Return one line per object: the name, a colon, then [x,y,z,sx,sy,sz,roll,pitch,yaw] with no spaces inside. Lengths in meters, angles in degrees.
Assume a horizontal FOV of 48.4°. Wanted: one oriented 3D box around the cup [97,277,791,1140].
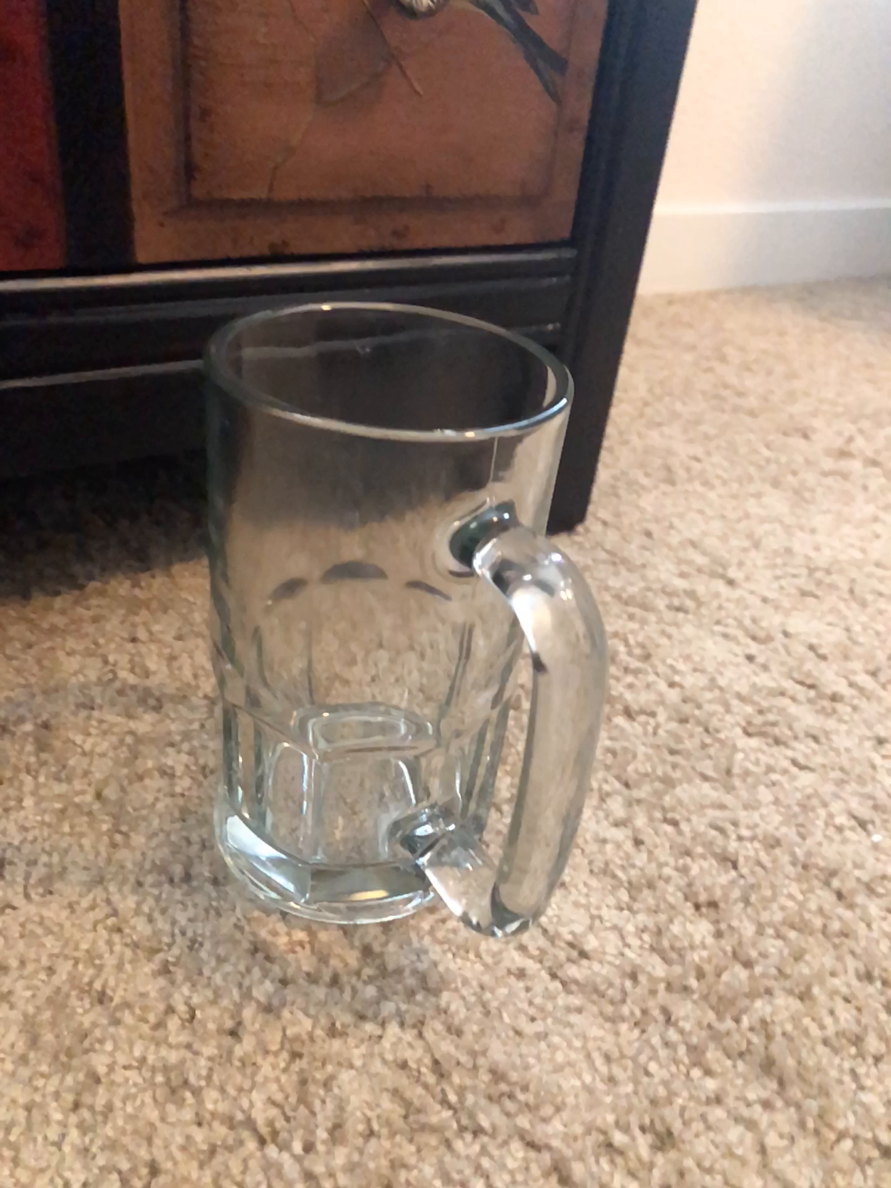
cup: [-0.017,0.015,0.257,0.097,0.155,0.134,-13,36,-33]
